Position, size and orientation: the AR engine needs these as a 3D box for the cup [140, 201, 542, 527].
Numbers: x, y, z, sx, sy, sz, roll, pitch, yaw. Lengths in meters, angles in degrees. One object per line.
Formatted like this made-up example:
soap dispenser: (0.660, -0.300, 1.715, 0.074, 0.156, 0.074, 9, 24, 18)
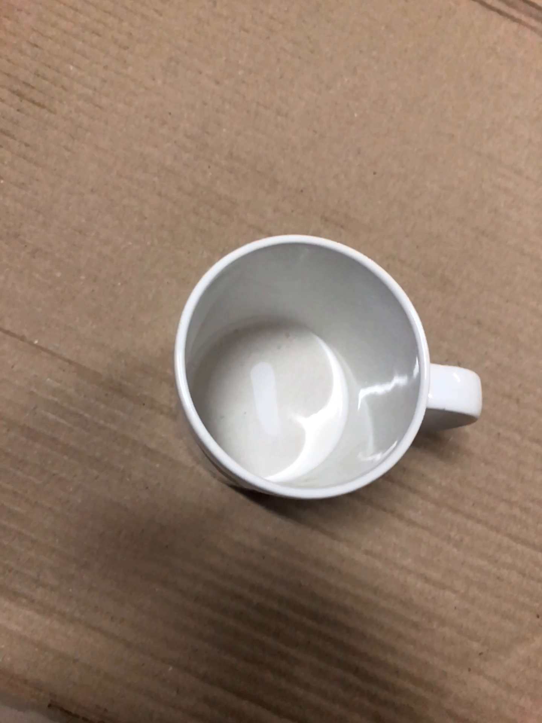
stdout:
cup: (0.018, 0.011, 0.212, 0.110, 0.090, 0.080, 7, 73, -7)
